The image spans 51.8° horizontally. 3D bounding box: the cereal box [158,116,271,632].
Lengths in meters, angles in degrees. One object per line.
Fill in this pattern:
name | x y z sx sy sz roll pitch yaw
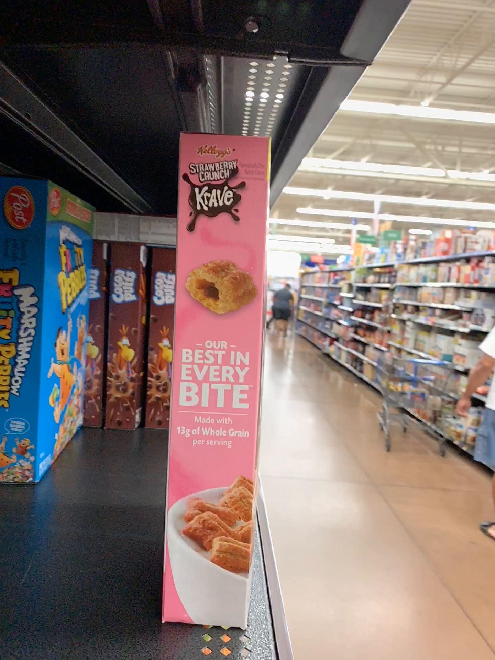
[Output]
cereal box | -0.021 0.025 0.425 0.060 0.330 0.200 3 5 0
